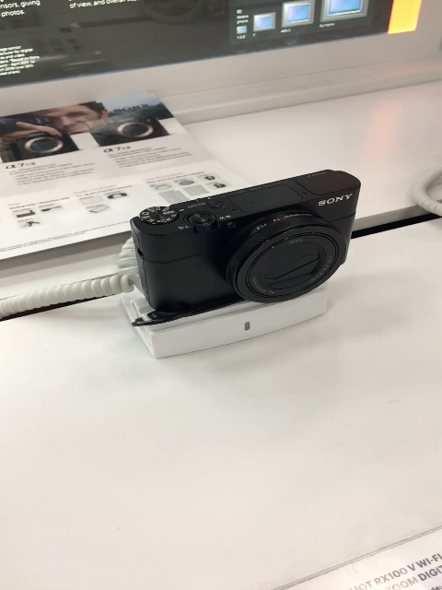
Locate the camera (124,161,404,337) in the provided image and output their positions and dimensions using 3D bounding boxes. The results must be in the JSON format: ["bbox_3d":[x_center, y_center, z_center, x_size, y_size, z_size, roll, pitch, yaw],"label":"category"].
[{"bbox_3d":[0.021,-0.023,0.288,0.116,0.056,0.037,-17,49,-16],"label":"camera"}]
